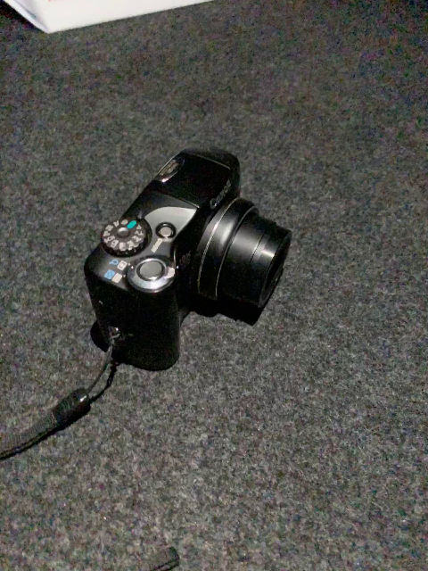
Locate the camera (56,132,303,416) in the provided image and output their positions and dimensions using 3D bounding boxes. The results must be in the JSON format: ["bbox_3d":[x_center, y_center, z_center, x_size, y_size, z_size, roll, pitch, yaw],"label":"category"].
[{"bbox_3d":[-0.010,-0.009,0.232,0.070,0.079,0.108,21,53,14],"label":"camera"}]
